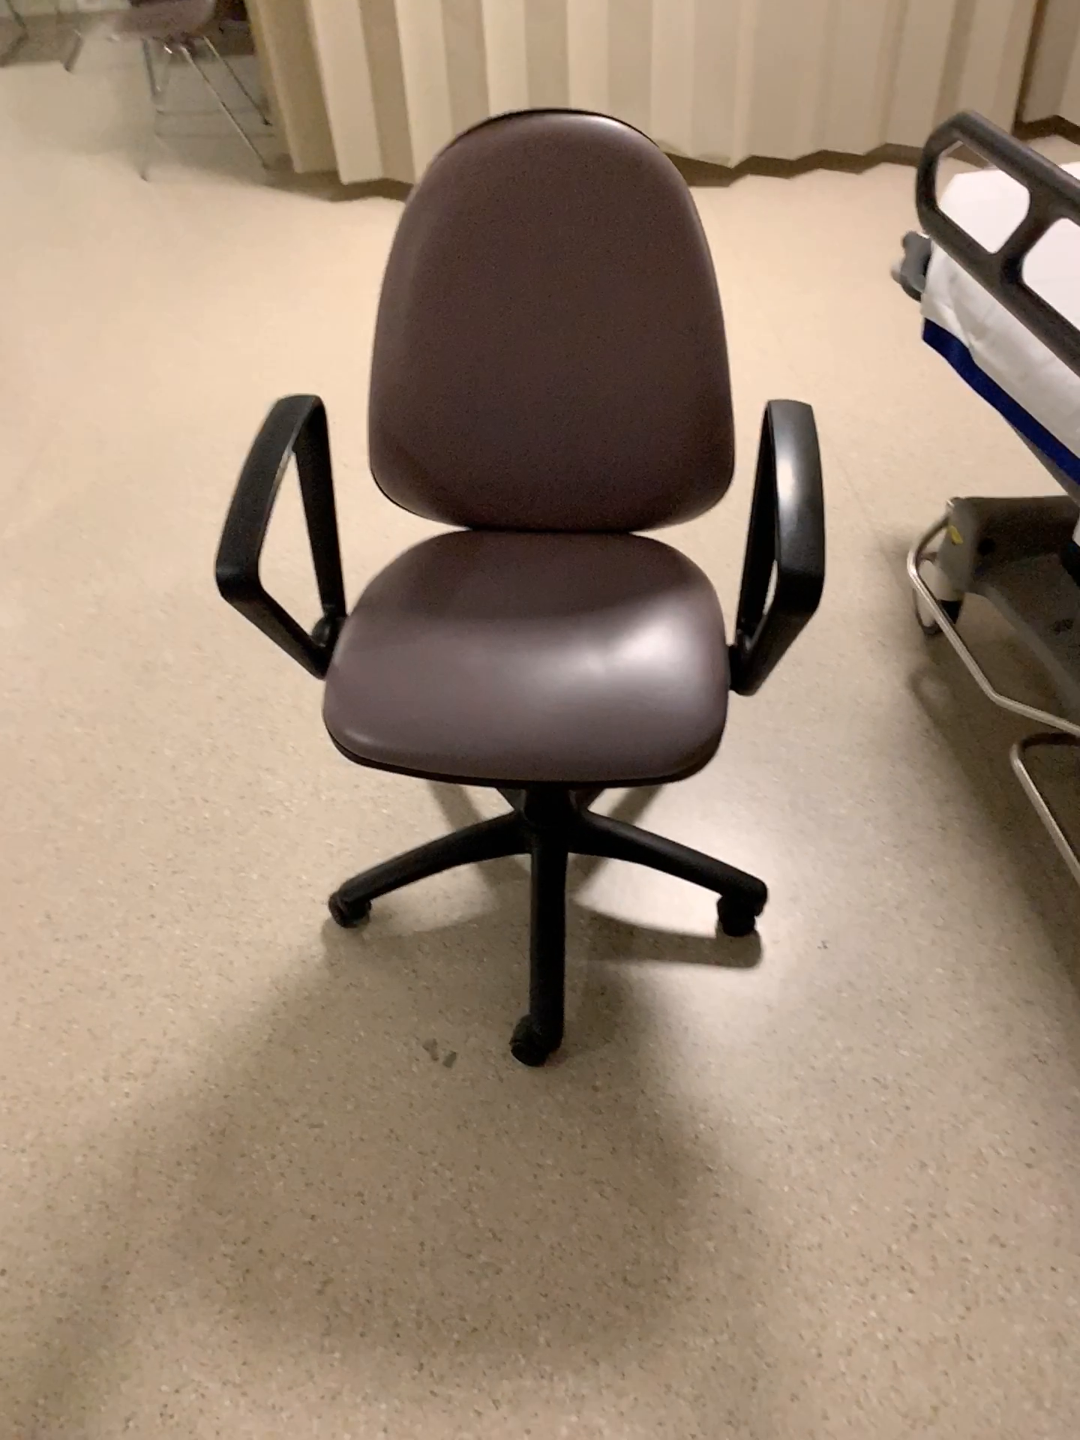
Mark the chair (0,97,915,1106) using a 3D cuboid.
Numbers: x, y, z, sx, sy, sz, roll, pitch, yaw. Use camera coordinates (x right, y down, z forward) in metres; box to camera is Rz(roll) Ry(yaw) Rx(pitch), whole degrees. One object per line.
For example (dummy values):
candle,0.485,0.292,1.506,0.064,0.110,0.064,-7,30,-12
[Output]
chair,-0.014,-0.134,1.290,0.650,0.882,0.717,4,44,8
